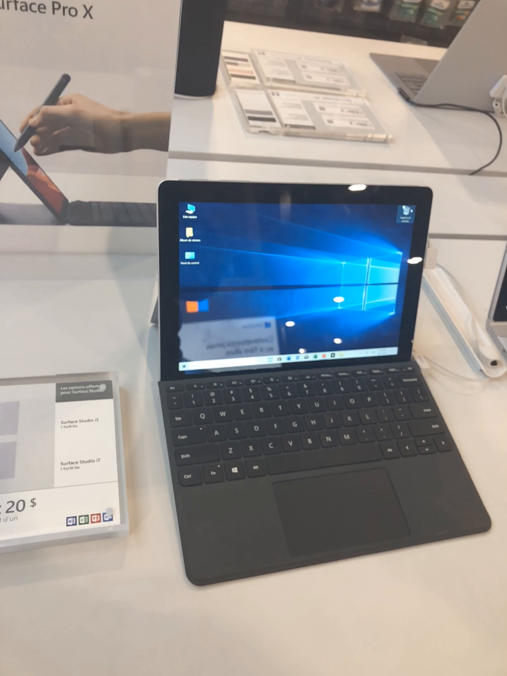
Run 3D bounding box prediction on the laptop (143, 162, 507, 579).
[{"bbox_3d":[0.055,0.008,0.434,0.236,0.140,0.251,-3,51,-19],"label":"laptop"}]
